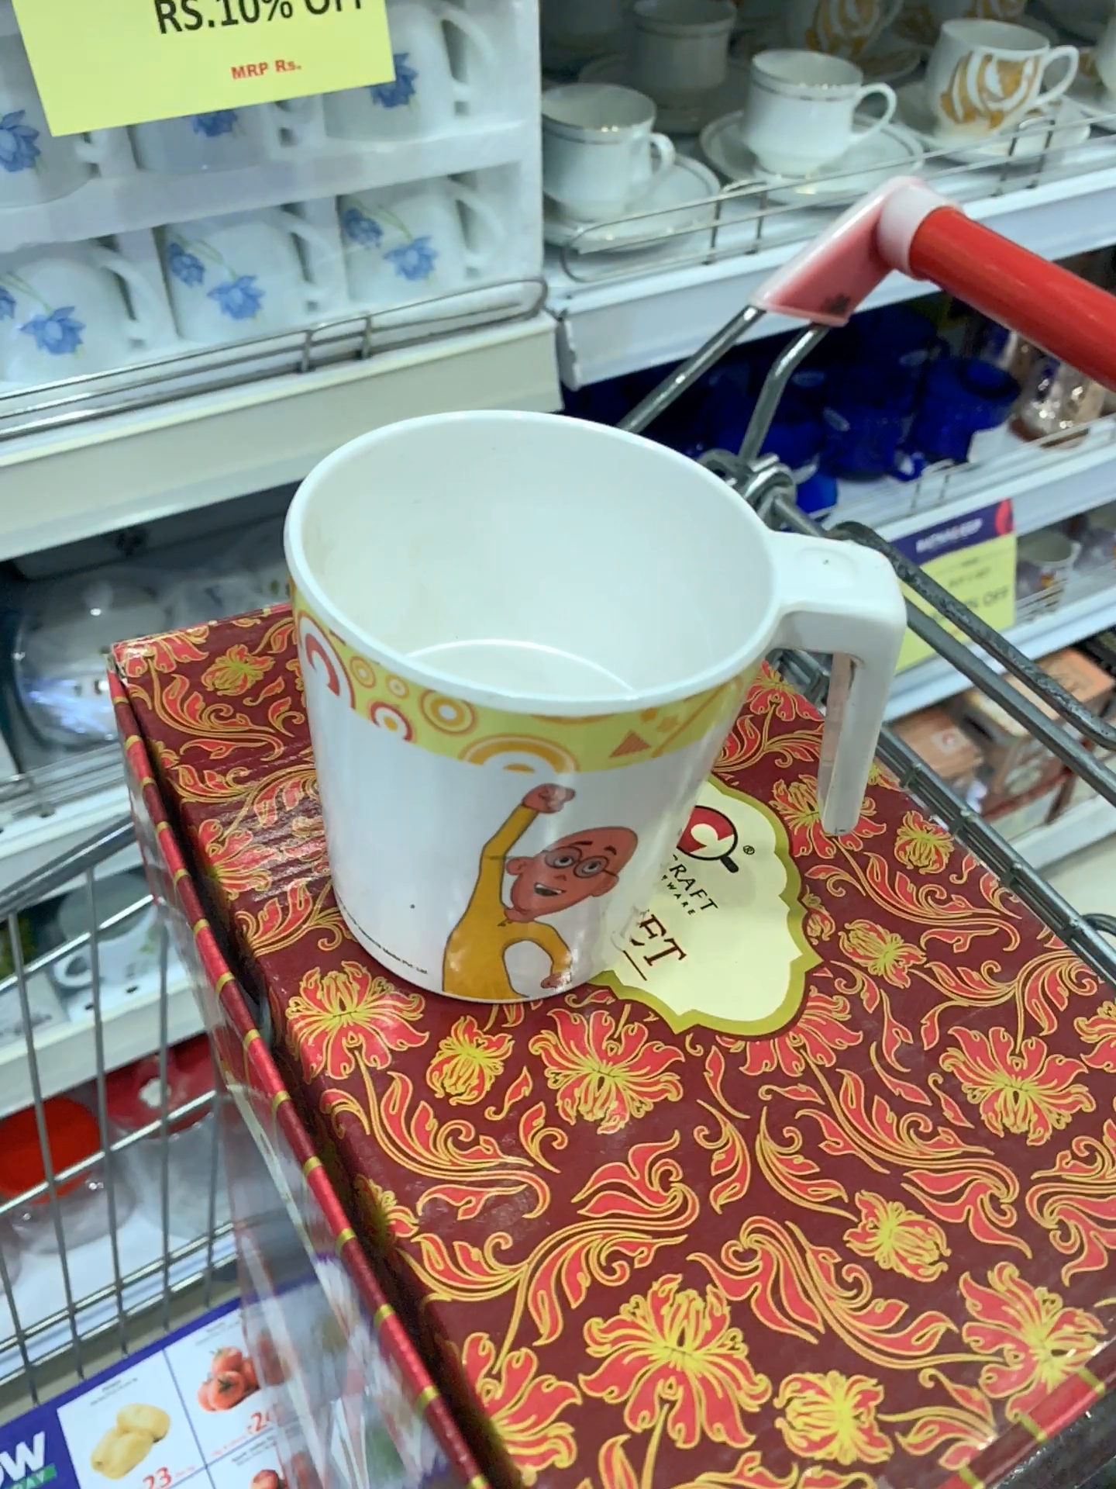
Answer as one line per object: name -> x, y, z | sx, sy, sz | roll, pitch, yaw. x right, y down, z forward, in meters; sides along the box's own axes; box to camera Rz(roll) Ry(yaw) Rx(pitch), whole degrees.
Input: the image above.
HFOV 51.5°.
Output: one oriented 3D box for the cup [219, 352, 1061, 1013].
cup -> 0.007, -0.009, 0.205 | 0.110, 0.080, 0.080 | 2, 47, -6
